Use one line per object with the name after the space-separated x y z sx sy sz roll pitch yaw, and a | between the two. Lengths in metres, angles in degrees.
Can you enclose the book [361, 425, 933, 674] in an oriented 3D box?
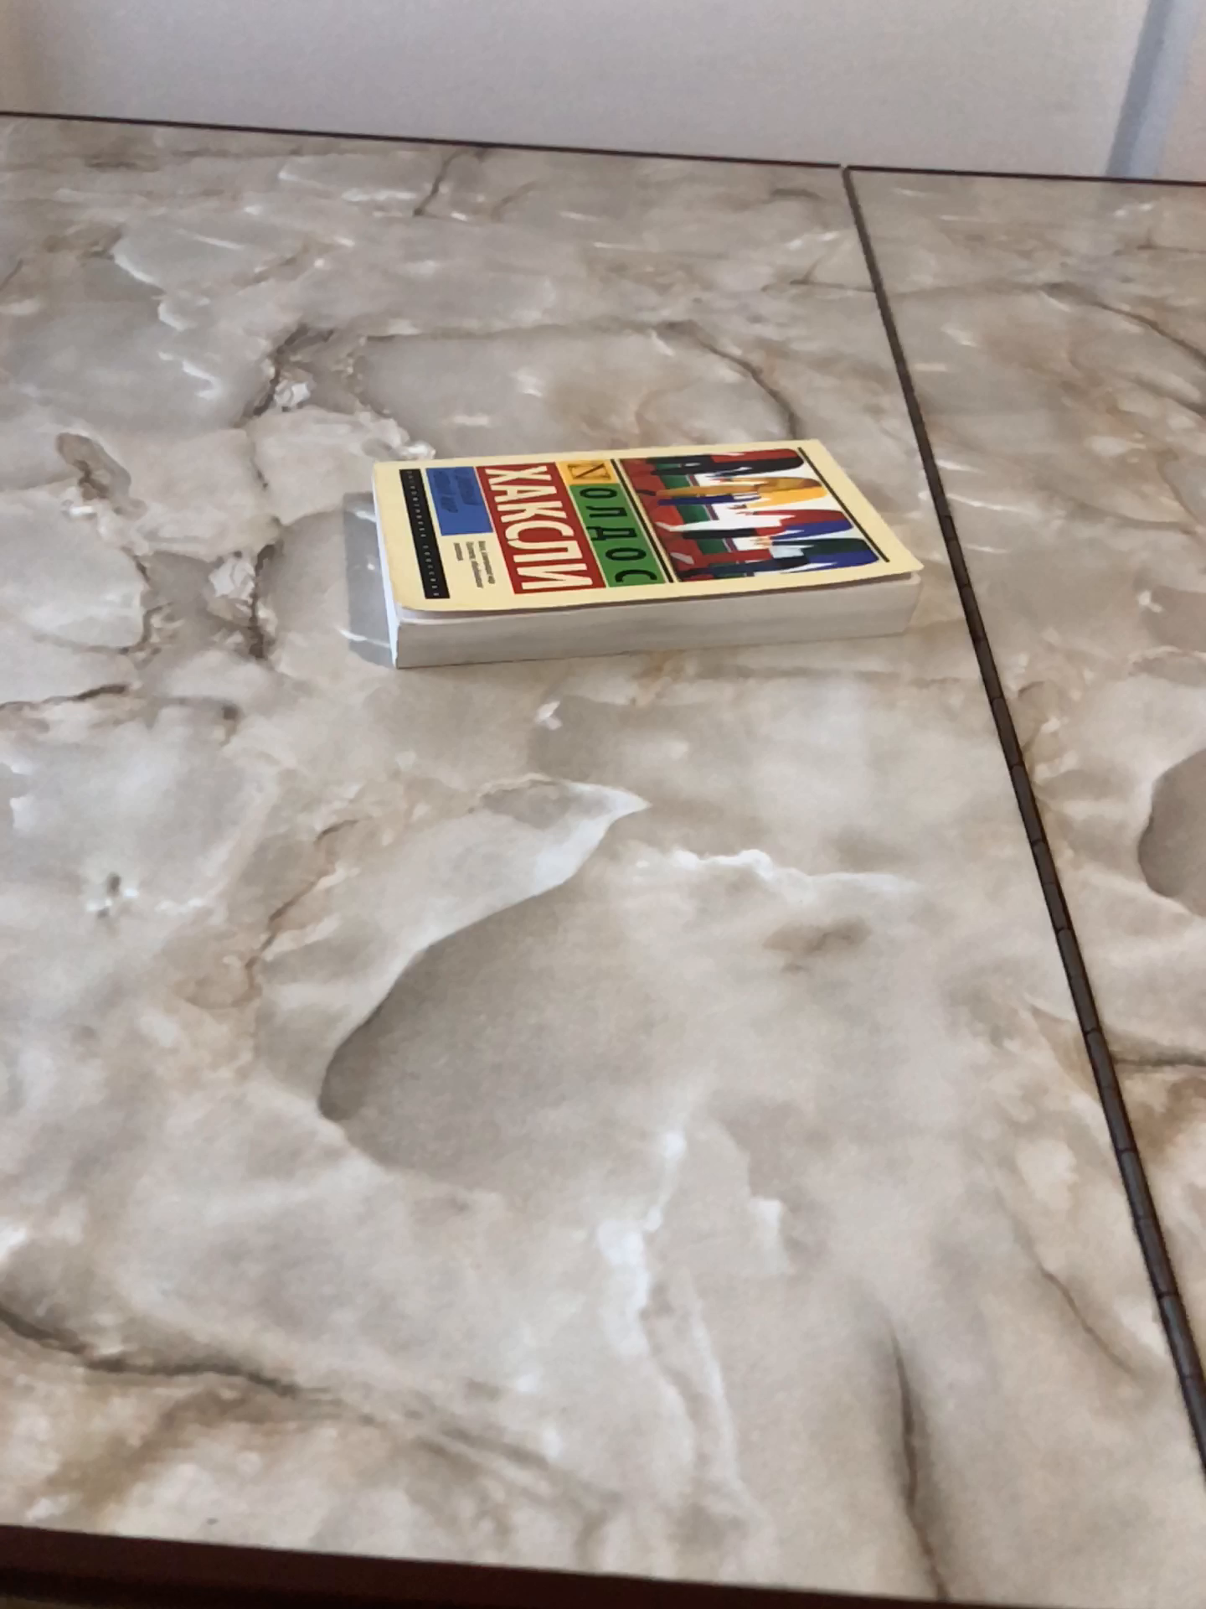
0.009 -0.098 0.485 0.184 0.020 0.121 -6 41 -10 | book
